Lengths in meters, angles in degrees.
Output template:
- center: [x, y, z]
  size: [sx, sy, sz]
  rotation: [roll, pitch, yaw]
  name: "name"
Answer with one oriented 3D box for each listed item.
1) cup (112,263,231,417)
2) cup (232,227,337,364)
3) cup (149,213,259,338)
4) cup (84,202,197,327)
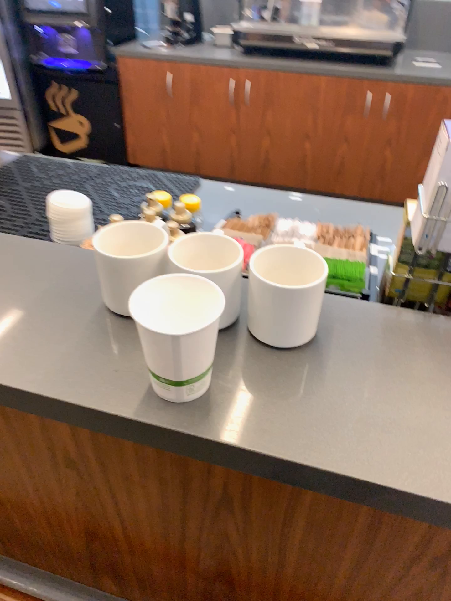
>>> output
- center: [-0.053, 0.036, 0.451]
  size: [0.090, 0.099, 0.091]
  rotation: [1, 38, -1]
  name: "cup"
- center: [0.070, -0.009, 0.547]
  size: [0.090, 0.099, 0.111]
  rotation: [14, 40, 15]
  name: "cup"
- center: [-0.023, -0.034, 0.562]
  size: [0.090, 0.089, 0.111]
  rotation: [15, 40, 16]
  name: "cup"
- center: [-0.102, -0.049, 0.589]
  size: [0.090, 0.099, 0.111]
  rotation: [15, 40, 16]
  name: "cup"
